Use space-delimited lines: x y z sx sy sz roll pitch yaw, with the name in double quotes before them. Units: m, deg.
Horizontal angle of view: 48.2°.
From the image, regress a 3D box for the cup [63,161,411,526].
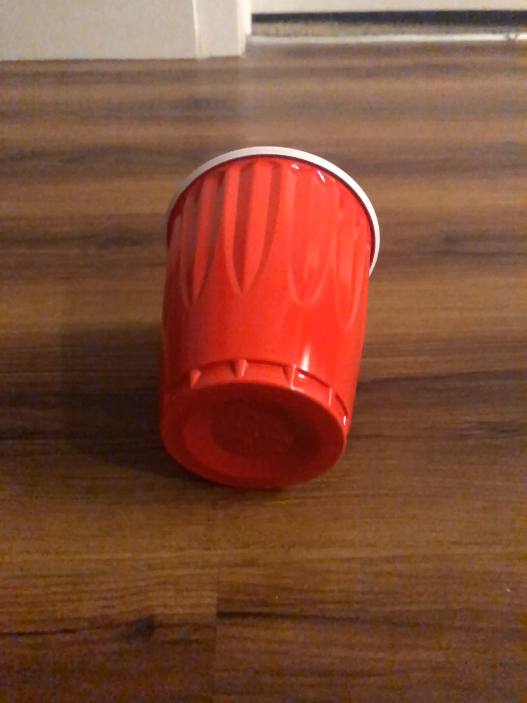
"cup" -0.002 -0.007 0.238 0.099 0.089 0.115 2 46 5
